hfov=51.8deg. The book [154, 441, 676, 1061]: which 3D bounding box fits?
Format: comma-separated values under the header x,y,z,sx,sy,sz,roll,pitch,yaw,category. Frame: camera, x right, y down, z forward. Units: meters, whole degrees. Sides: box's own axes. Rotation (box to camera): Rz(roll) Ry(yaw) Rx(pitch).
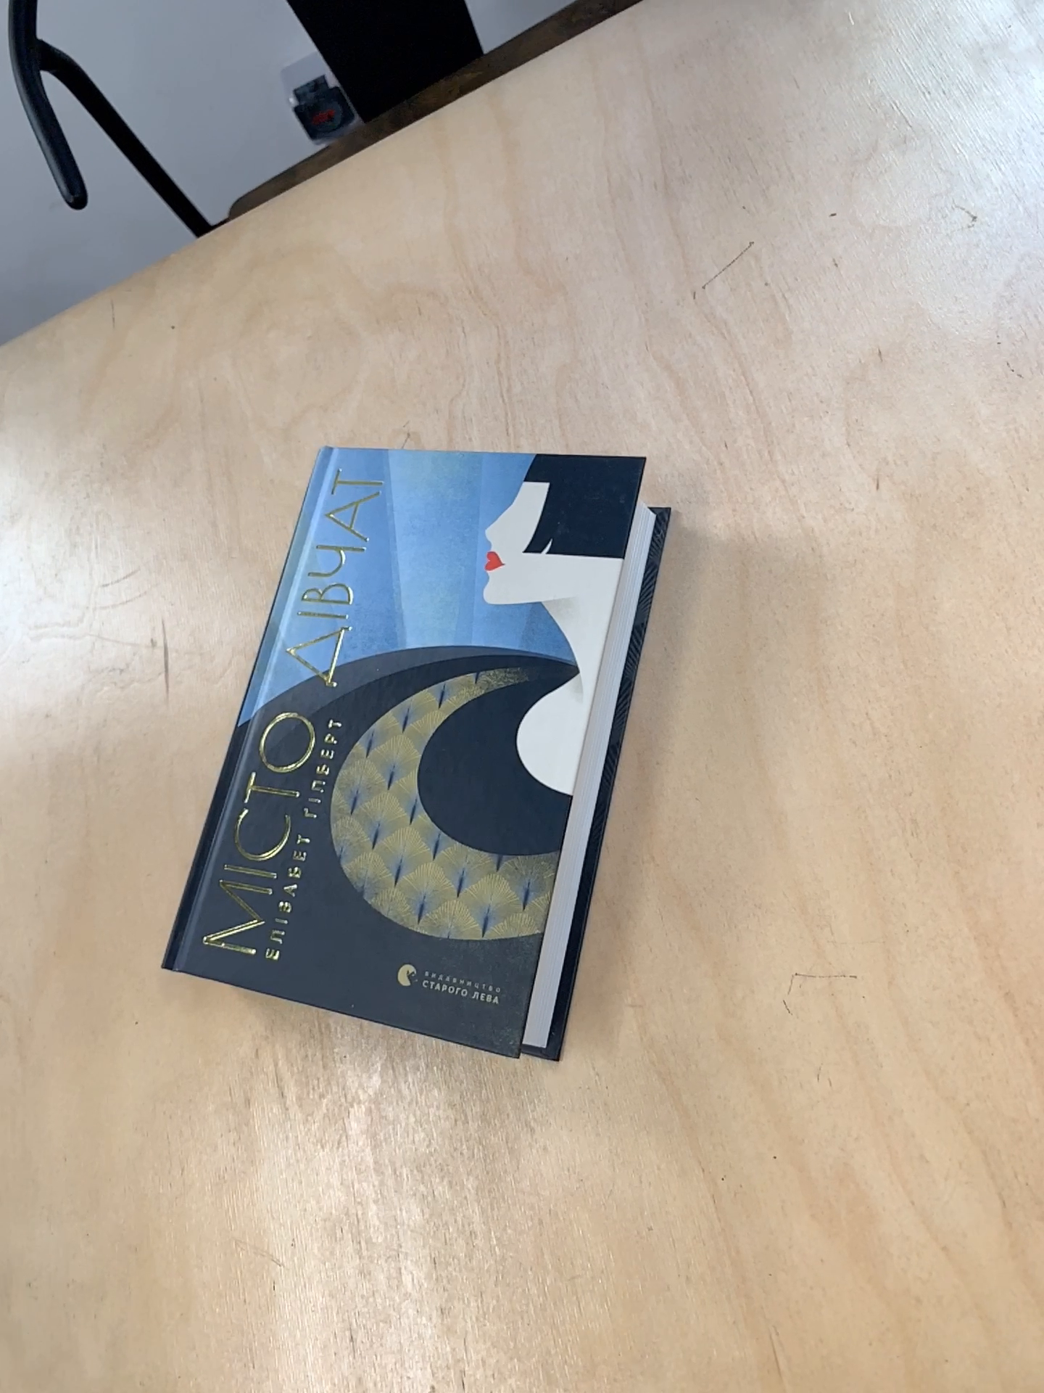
x,y,z,sx,sy,sz,roll,pitch,yaw,category
-0.034,0.010,0.377,0.135,0.043,0.197,7,75,23,book
